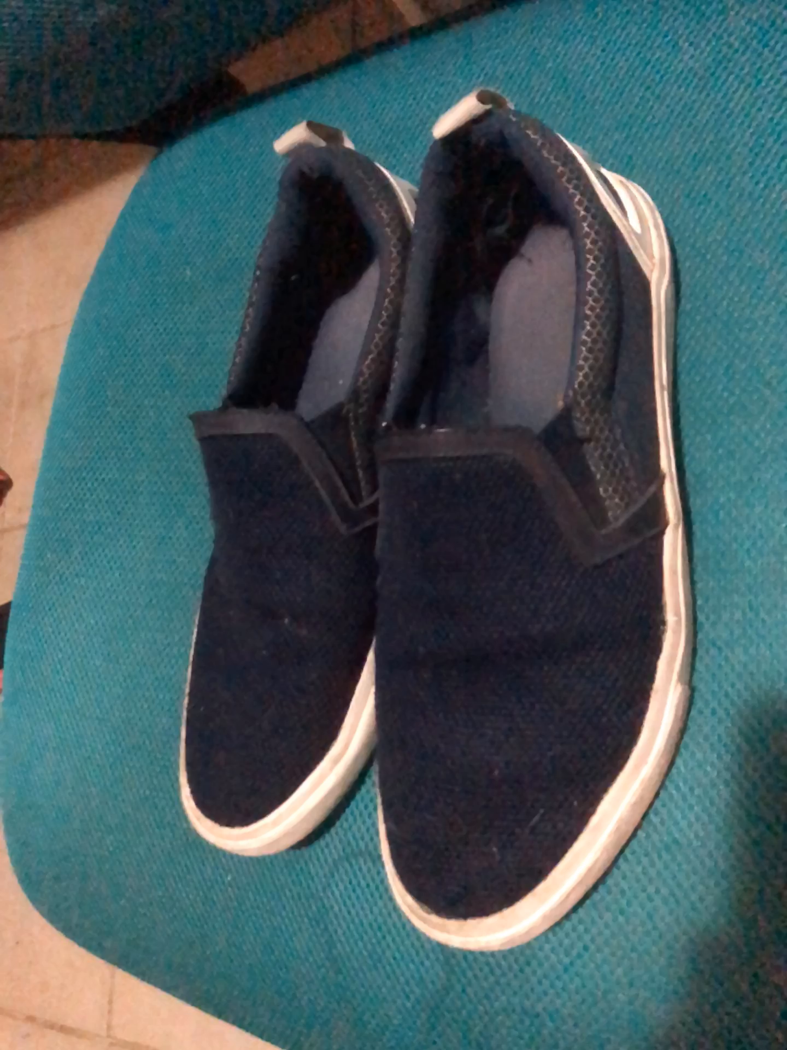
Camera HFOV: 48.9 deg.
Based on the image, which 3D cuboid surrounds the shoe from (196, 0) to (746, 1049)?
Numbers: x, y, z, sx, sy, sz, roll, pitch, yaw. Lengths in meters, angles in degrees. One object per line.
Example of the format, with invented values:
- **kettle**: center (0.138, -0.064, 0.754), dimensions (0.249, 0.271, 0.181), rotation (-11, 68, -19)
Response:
- **shoe**: center (0.039, 0.001, 0.291), dimensions (0.120, 0.110, 0.290), rotation (0, 77, 32)

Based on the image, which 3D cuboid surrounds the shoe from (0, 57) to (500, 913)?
- **shoe**: center (-0.053, -0.015, 0.362), dimensions (0.120, 0.110, 0.290), rotation (3, 79, 33)
